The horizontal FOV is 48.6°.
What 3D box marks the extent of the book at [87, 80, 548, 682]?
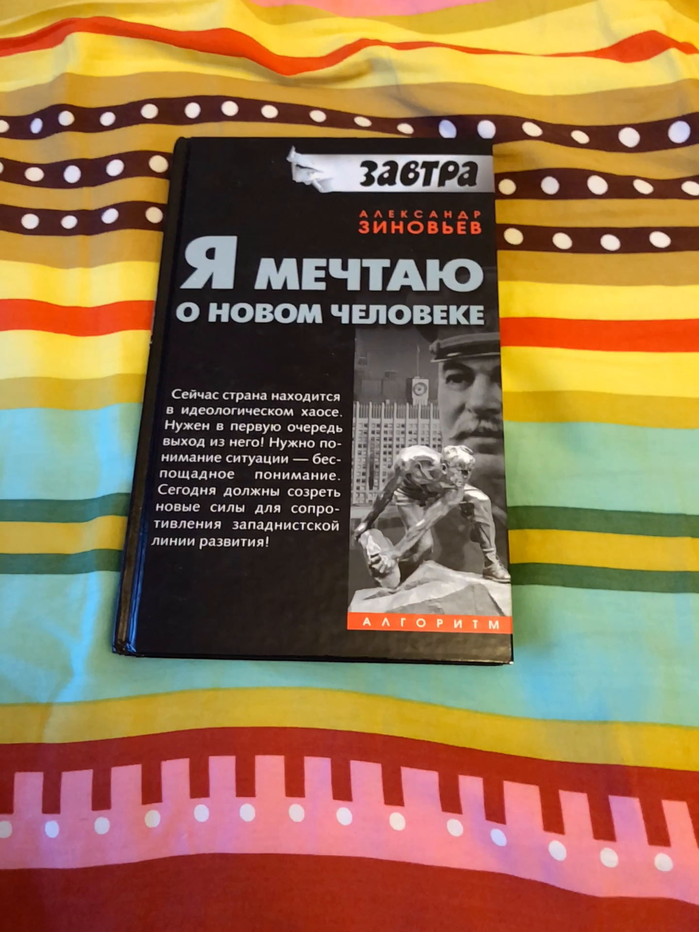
[{"bbox_3d":[-0.006,-0.039,0.281,0.140,0.030,0.220,2,73,2],"label":"book"}]
